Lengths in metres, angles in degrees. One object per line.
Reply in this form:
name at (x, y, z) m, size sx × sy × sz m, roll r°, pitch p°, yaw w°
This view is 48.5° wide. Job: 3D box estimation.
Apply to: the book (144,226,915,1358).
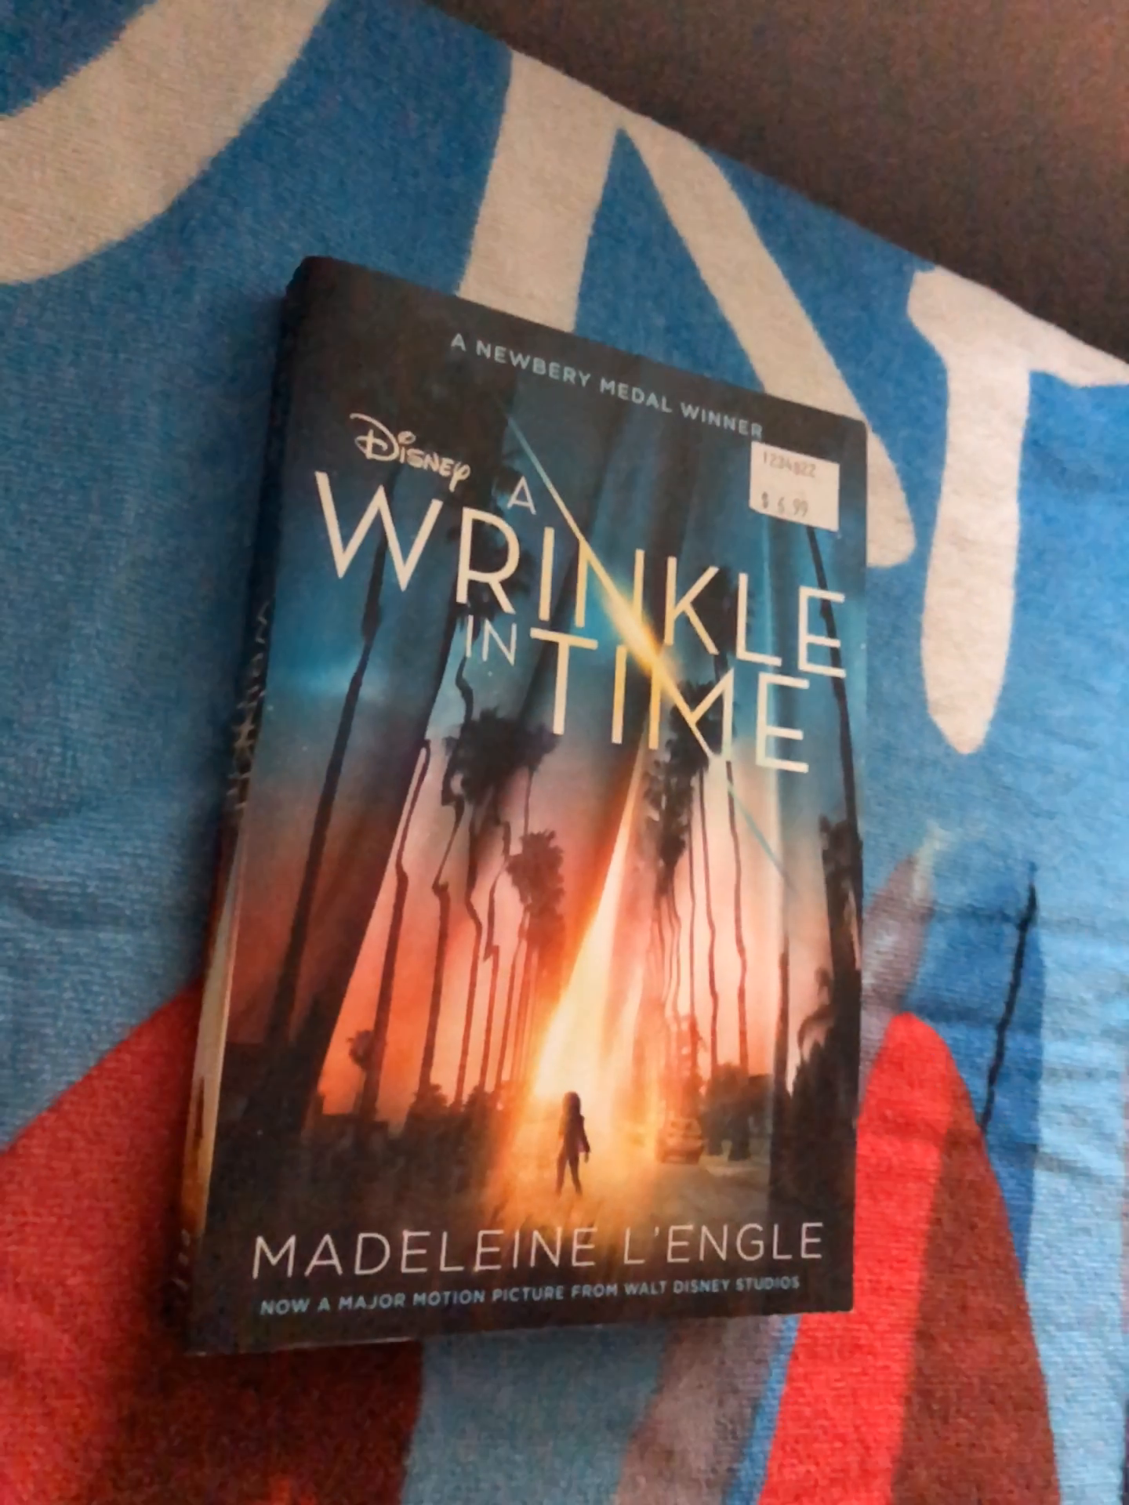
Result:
book at (0.002, 0.012, 0.255) m, size 0.138 × 0.031 × 0.195 m, roll 10°, pitch 80°, yaw -24°
